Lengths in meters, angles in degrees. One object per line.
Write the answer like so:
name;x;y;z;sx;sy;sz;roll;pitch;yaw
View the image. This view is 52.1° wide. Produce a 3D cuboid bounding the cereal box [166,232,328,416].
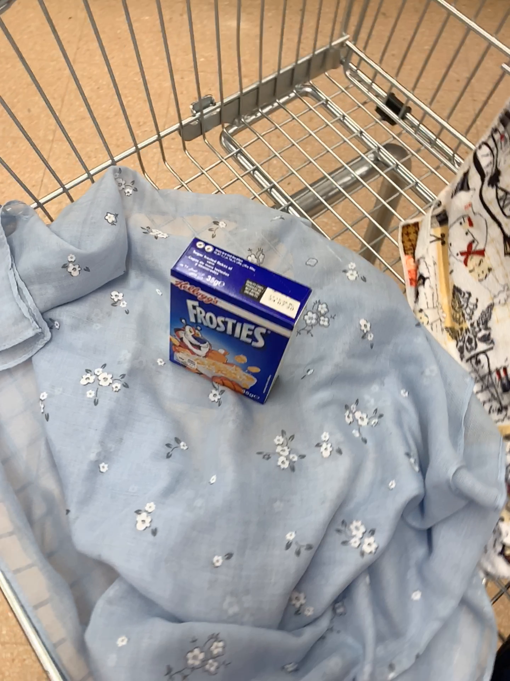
cereal box;-0.012;-0.006;0.398;0.100;0.129;0.040;25;60;8
